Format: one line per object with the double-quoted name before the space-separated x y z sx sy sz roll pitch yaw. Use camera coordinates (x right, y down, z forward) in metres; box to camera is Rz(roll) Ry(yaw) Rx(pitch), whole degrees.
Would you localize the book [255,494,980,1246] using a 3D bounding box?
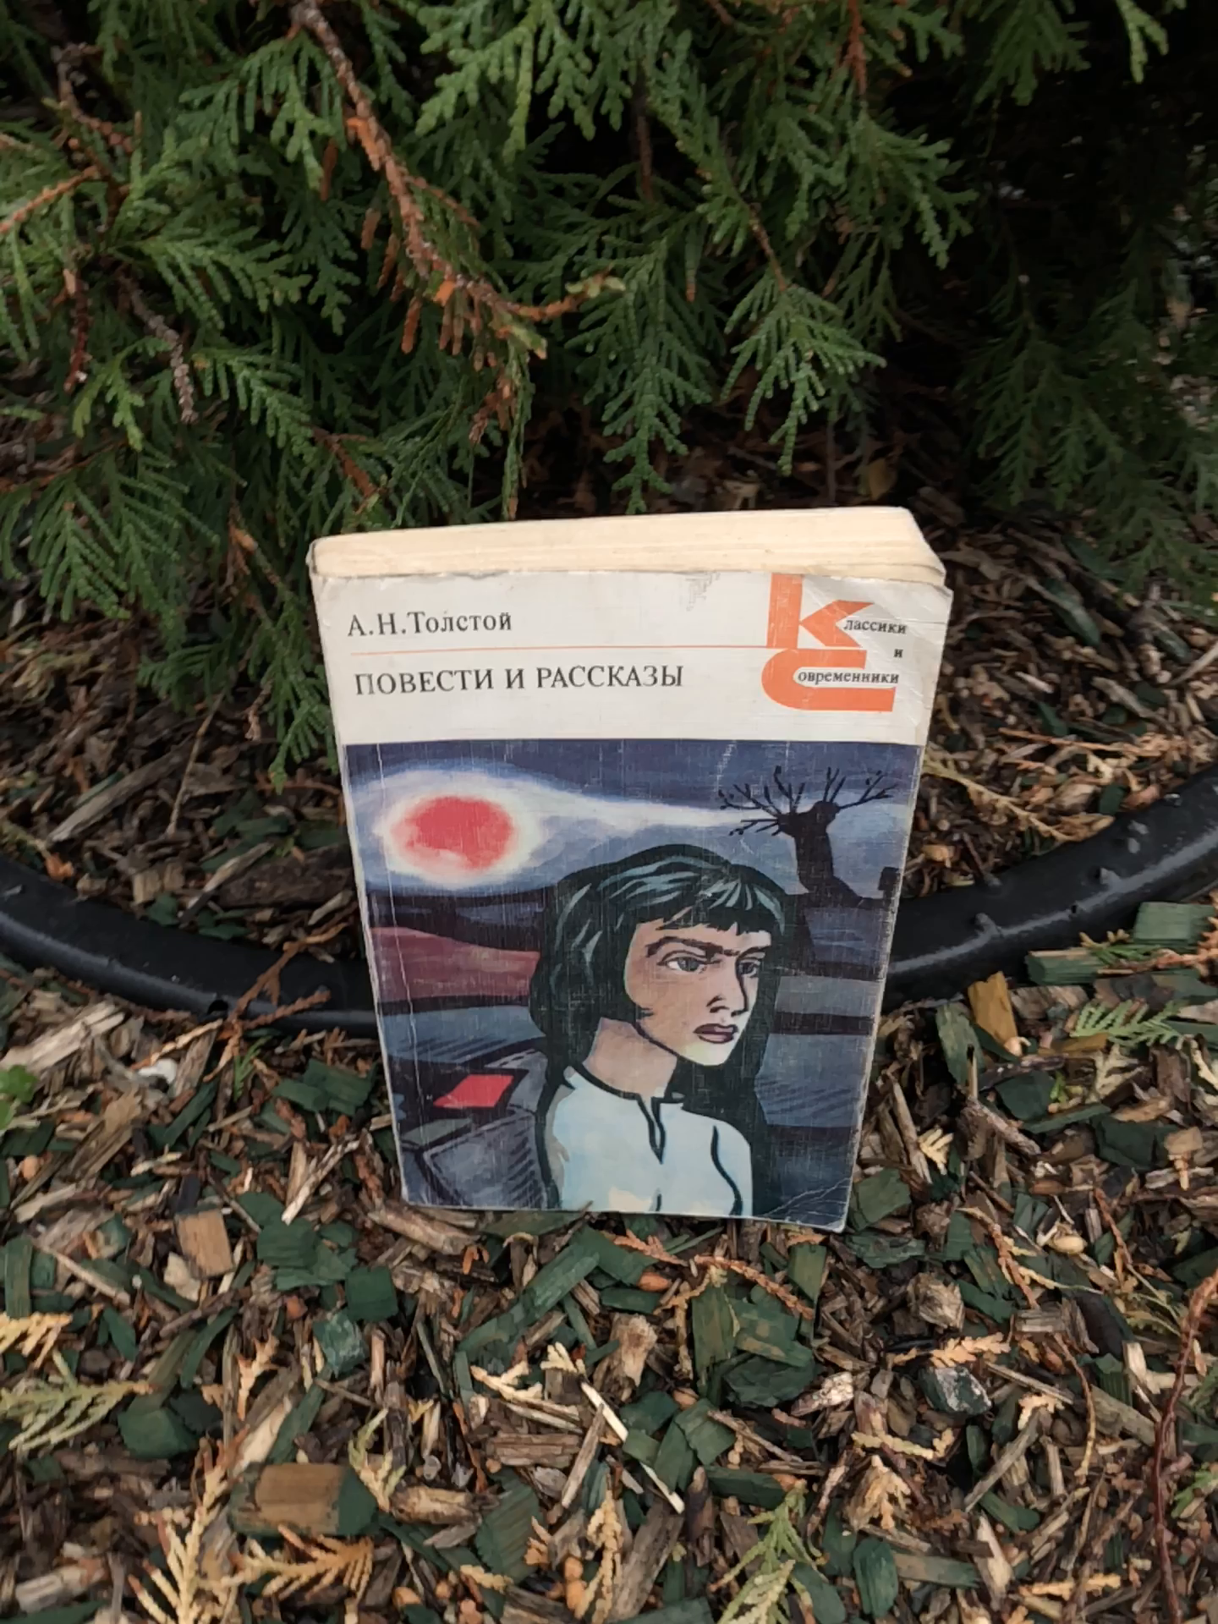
"book" 0.006 0.025 0.318 0.130 0.196 0.041 1 39 5
